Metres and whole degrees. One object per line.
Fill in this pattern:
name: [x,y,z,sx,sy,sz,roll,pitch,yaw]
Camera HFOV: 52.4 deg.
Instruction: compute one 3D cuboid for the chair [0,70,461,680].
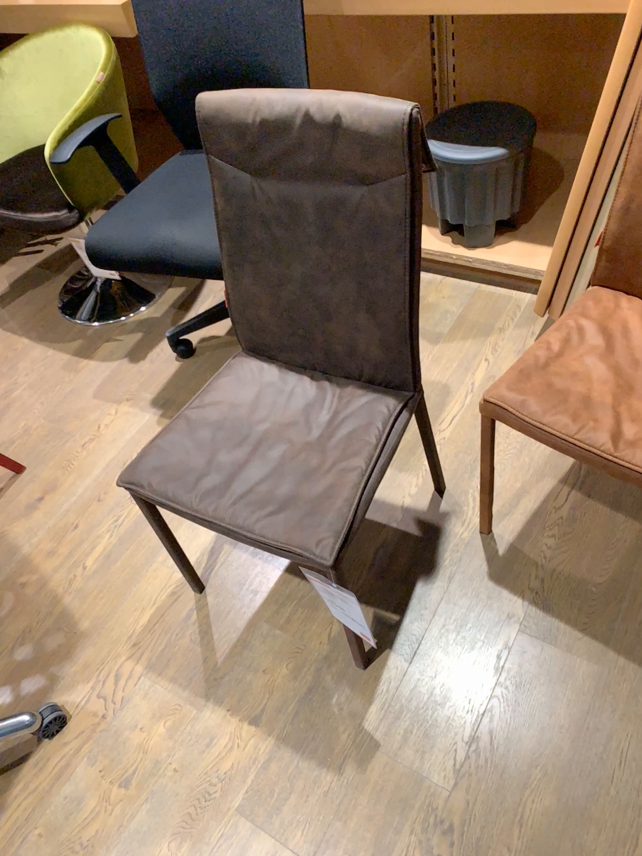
chair: [-0.089,-0.052,1.188,0.501,0.907,0.521,18,56,26]
